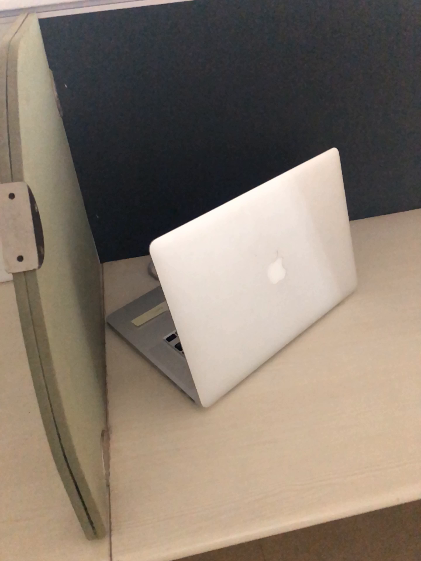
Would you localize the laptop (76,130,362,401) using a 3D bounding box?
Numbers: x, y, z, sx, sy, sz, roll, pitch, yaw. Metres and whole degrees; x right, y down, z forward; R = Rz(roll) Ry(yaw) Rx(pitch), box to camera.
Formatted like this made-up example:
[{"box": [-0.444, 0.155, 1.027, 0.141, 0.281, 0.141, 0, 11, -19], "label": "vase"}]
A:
[{"box": [0.023, -0.049, 0.718, 0.322, 0.232, 0.244, -32, 44, -30], "label": "laptop"}]
